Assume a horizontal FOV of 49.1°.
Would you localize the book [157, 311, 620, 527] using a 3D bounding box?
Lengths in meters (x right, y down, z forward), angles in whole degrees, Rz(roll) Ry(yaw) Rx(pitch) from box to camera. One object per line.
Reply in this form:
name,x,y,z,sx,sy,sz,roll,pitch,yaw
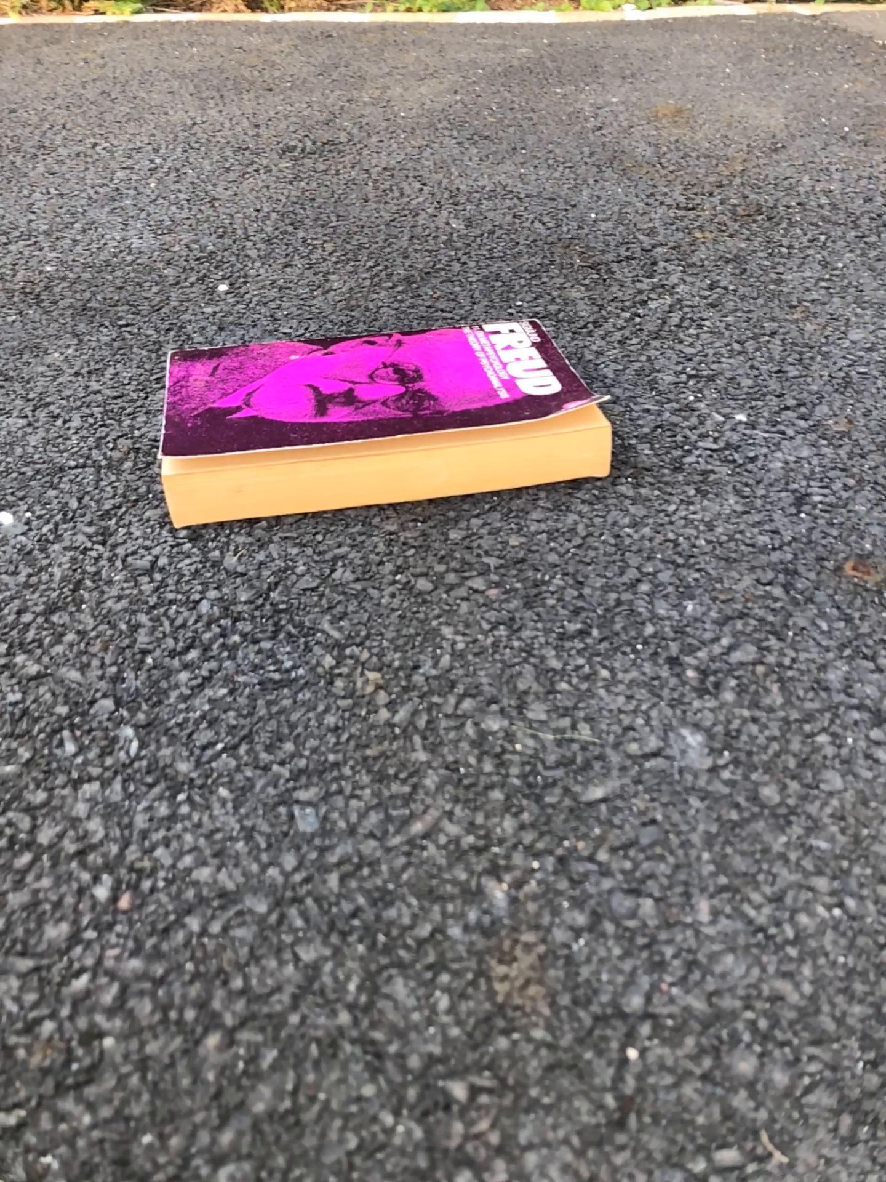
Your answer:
book,-0.031,-0.089,0.465,0.194,0.031,0.131,-7,37,-8
